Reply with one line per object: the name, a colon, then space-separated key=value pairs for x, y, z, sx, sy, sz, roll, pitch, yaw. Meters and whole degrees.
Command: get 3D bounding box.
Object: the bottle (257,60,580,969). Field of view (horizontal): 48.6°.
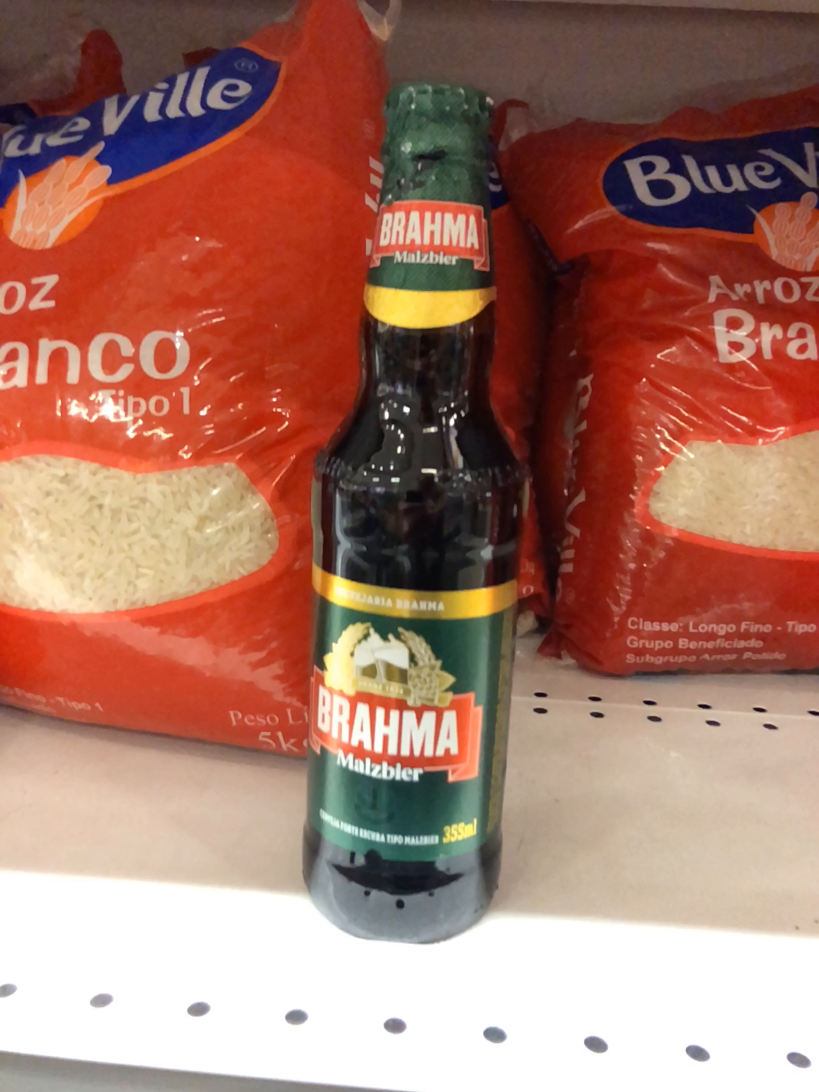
bottle: x=0.000 y=-0.003 z=0.256 sx=0.070 sy=0.229 sz=0.060 roll=5 pitch=16 yaw=6
